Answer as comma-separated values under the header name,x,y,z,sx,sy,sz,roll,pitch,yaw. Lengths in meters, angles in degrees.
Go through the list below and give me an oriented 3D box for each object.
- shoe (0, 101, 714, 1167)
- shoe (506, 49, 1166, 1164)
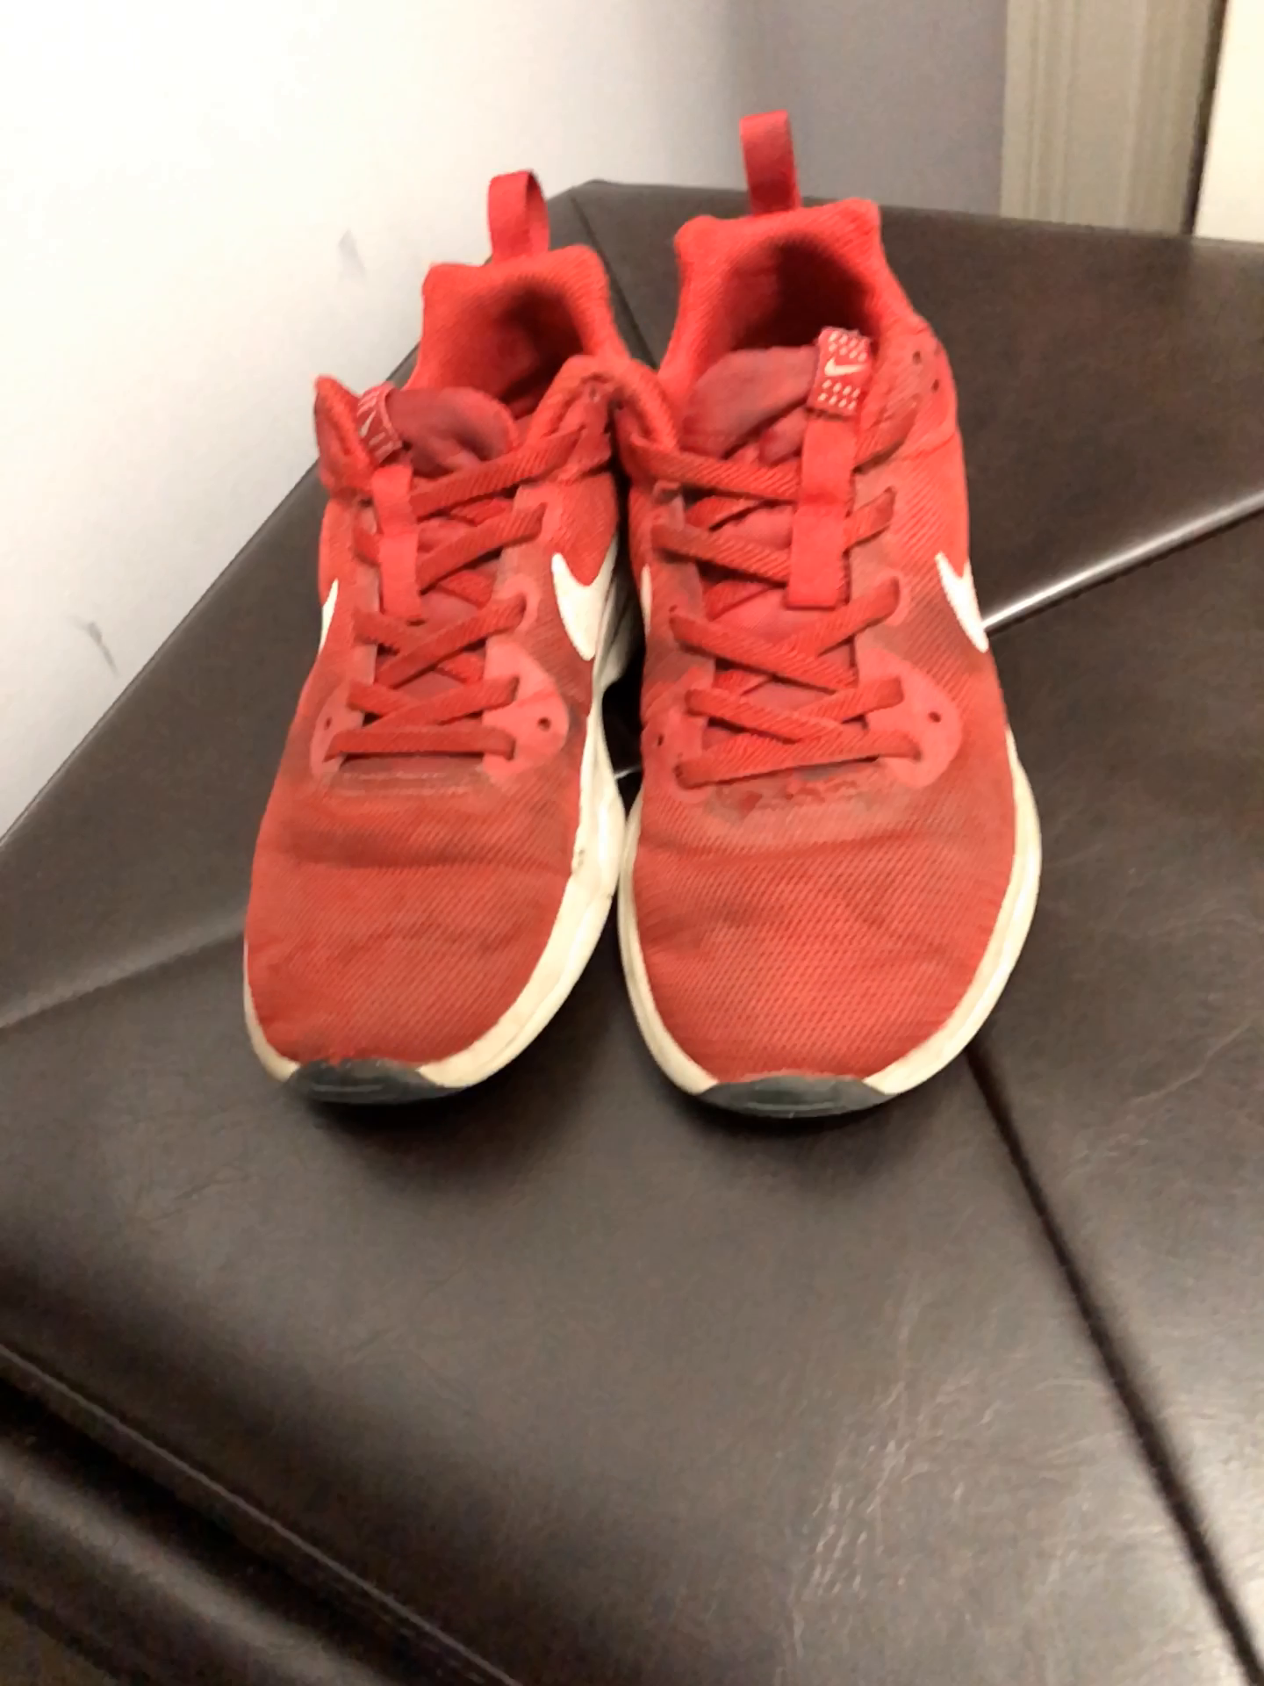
name,x,y,z,sx,sy,sz,roll,pitch,yaw
shoe,-0.051,-0.054,0.322,0.095,0.100,0.220,3,59,14
shoe,0.042,-0.055,0.304,0.095,0.100,0.220,-3,57,10
